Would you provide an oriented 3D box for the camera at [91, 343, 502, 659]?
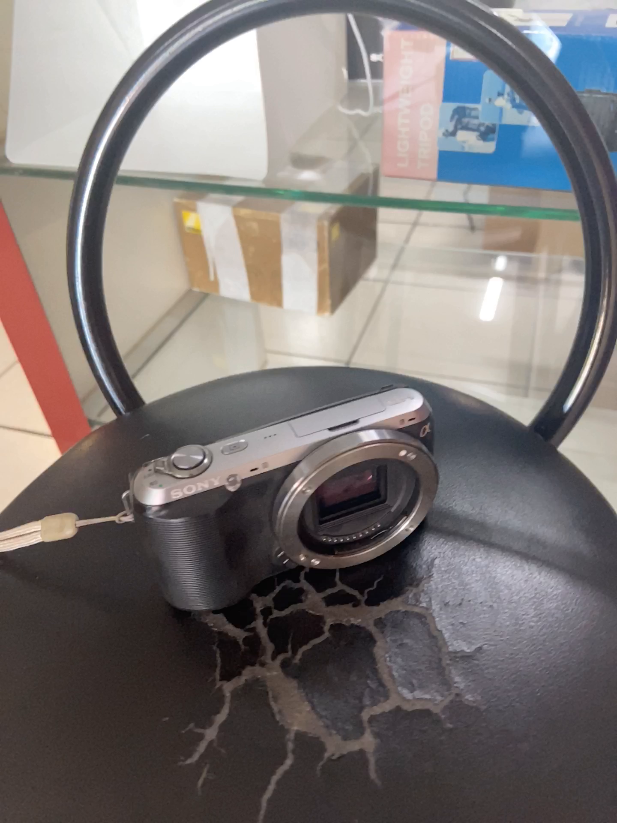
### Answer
[{"bbox_3d":[-0.001,0.027,0.215,0.120,0.060,0.040,-17,40,-14],"label":"camera"}]
